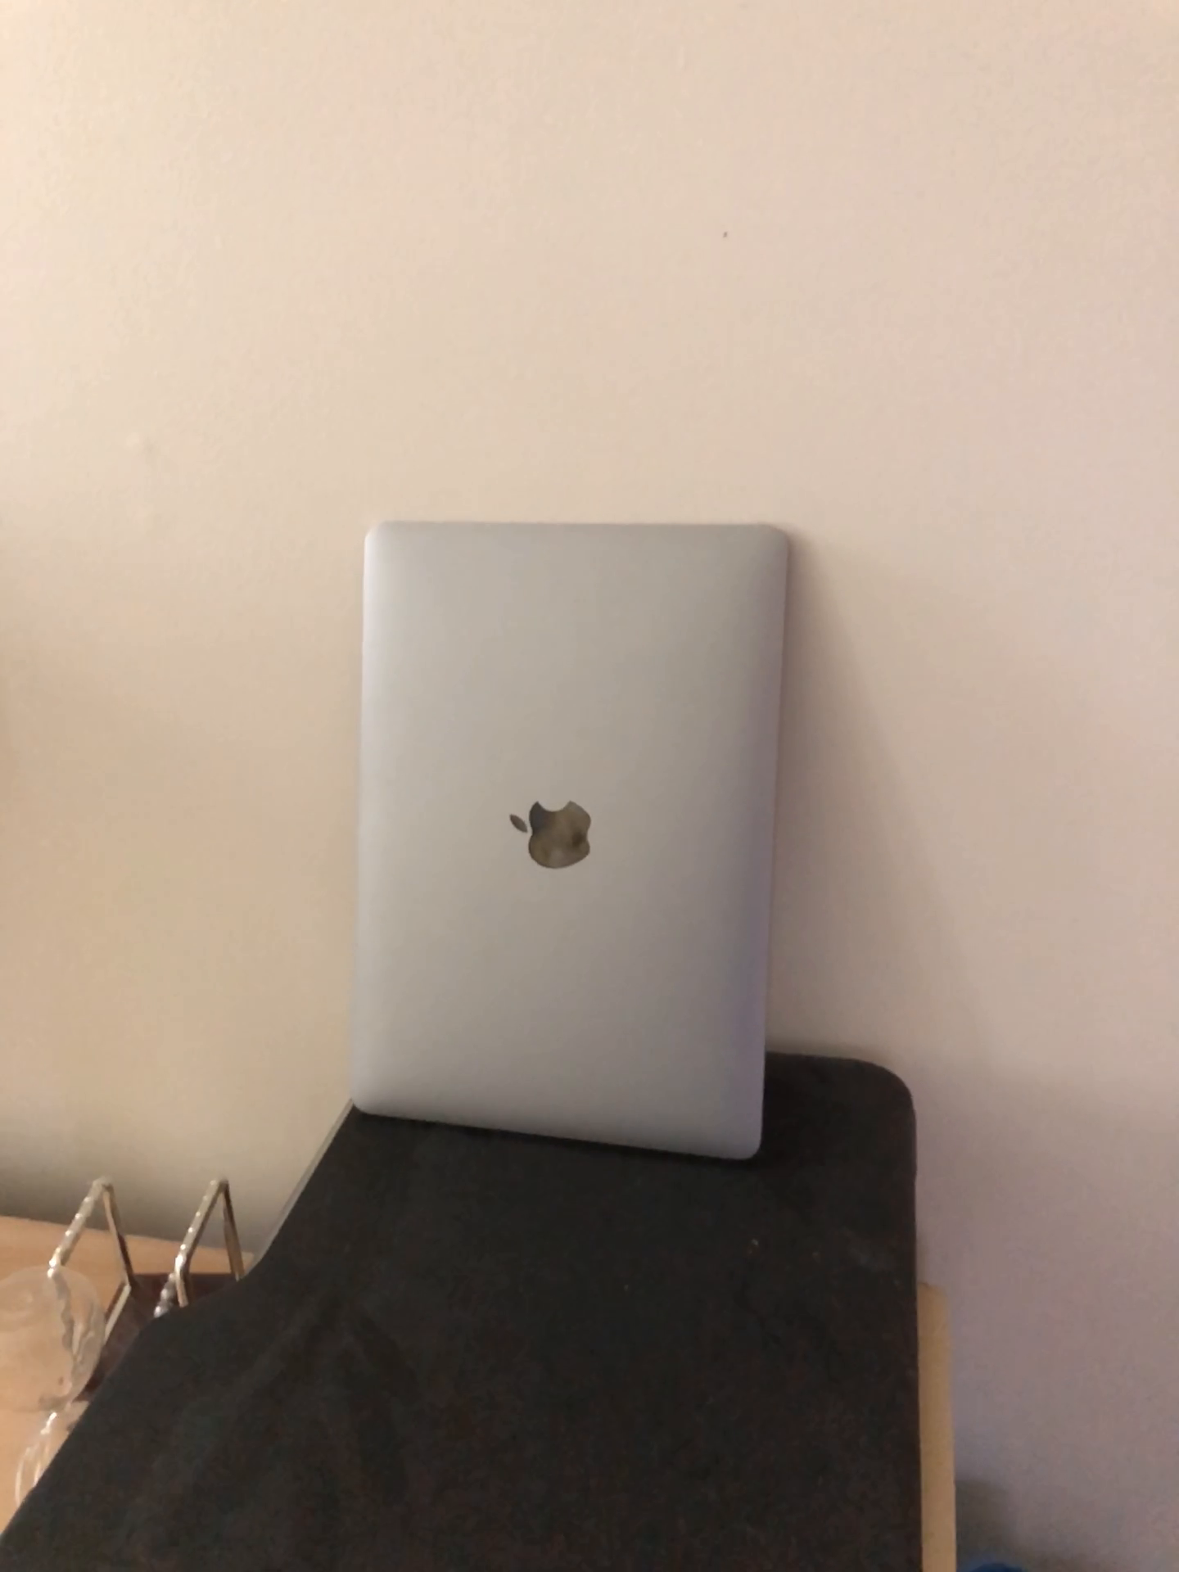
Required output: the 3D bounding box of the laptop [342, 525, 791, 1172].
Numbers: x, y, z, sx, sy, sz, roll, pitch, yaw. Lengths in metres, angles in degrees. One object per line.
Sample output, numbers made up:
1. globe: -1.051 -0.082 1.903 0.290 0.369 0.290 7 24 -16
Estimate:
1. laptop: -0.016 0.024 0.587 0.196 0.275 0.002 3 3 14
